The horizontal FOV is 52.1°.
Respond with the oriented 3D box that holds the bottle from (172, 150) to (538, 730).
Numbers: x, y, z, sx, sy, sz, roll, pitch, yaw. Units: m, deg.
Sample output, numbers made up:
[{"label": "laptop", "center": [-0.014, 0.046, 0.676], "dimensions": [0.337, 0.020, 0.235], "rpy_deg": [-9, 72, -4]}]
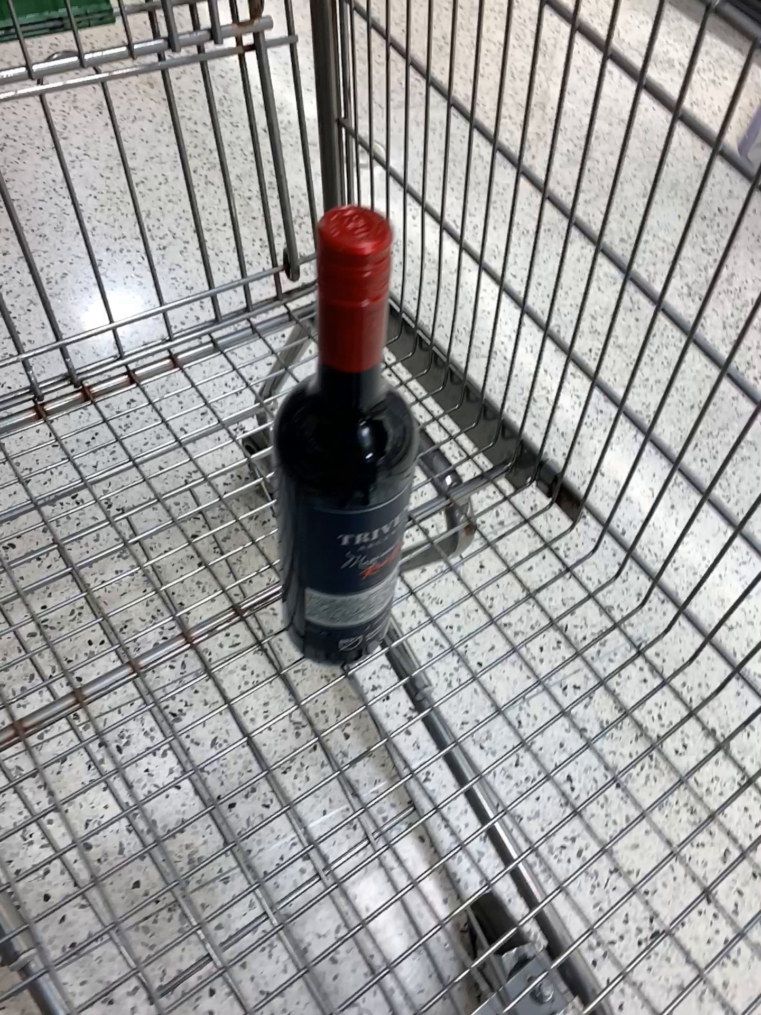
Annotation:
[{"label": "bottle", "center": [-0.028, -0.002, 0.437], "dimensions": [0.101, 0.337, 0.100], "rpy_deg": [4, 55, -5]}]
